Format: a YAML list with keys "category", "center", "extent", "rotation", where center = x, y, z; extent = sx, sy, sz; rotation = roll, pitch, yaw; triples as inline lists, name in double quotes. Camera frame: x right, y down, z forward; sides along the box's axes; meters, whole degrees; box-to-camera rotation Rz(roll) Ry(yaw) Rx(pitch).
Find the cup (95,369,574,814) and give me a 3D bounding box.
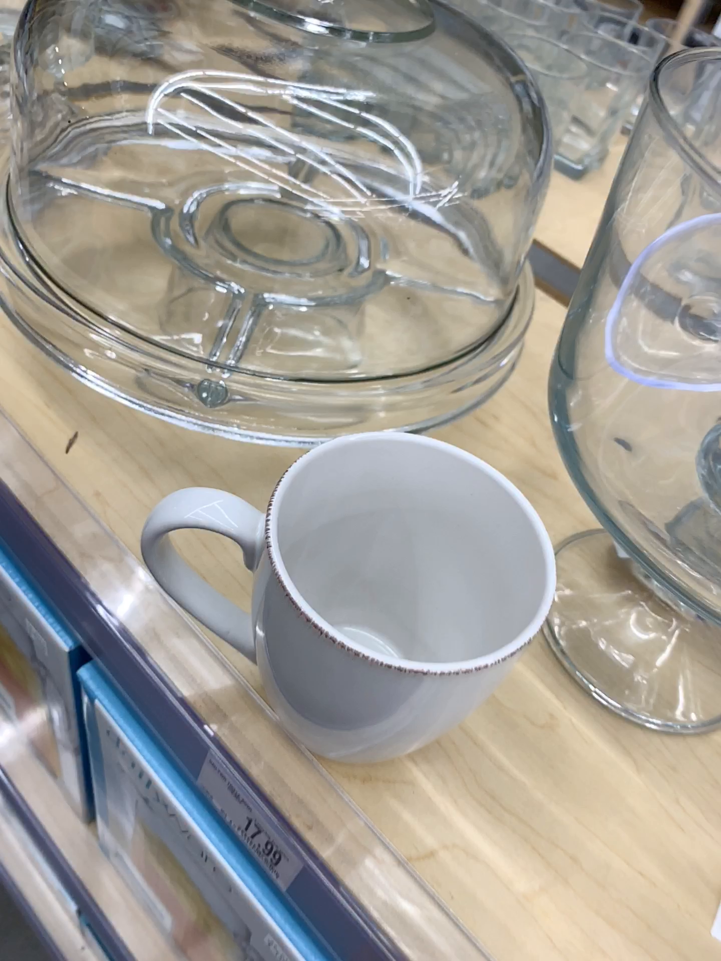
- category: "cup"
  center: [-0.009, 0.042, 0.265]
  extent: [0.130, 0.094, 0.096]
  rotation: [13, 49, -5]
